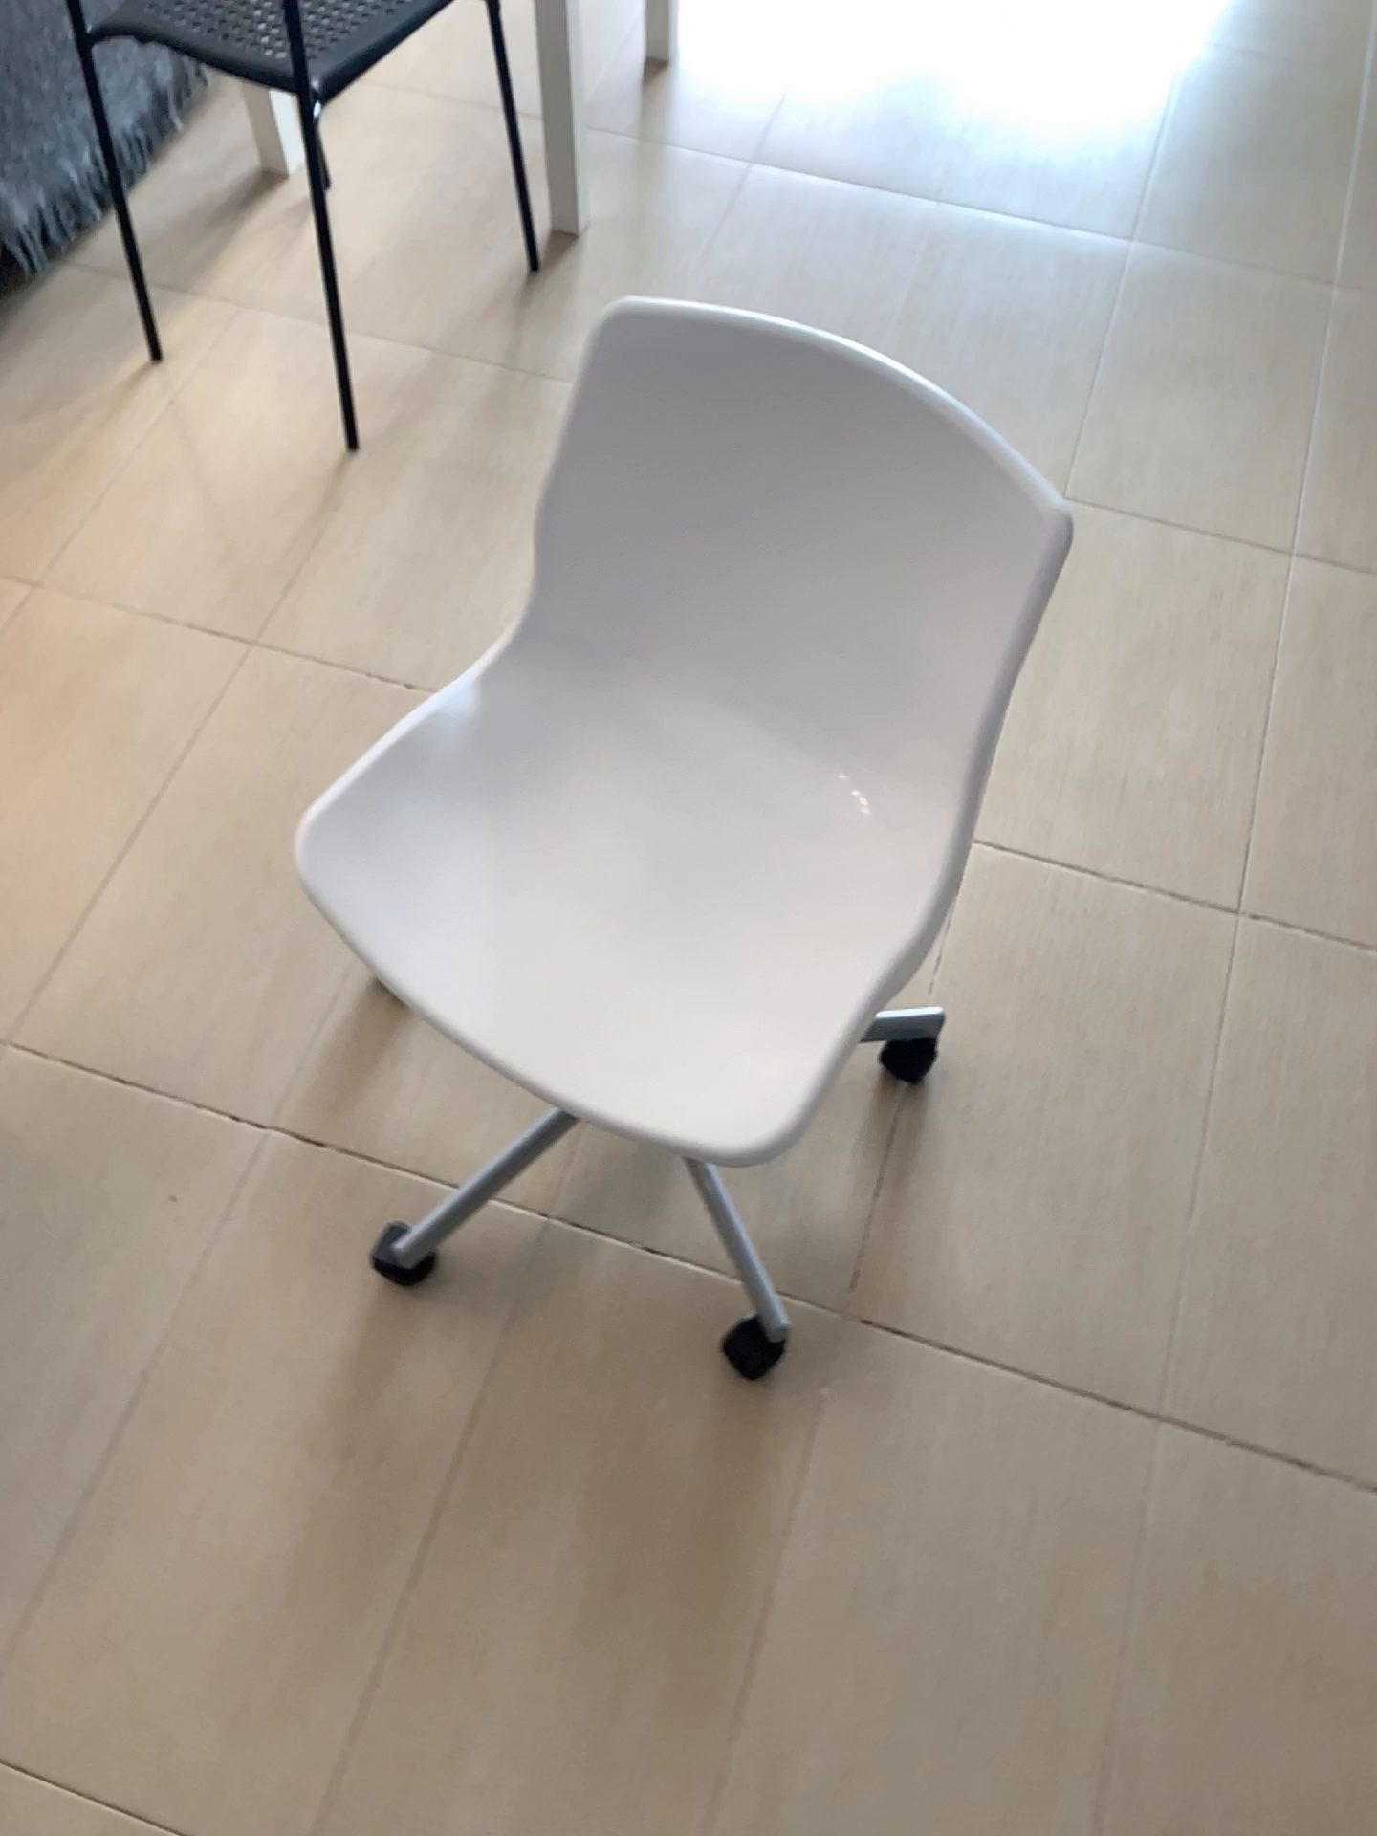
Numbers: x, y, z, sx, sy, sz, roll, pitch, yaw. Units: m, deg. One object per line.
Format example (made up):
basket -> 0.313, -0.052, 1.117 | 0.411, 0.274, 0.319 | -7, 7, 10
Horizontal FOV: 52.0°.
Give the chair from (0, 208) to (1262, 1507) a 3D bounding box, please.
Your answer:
chair -> -0.033, -0.039, 1.297 | 0.642, 0.647, 0.781 | 28, 64, 14
